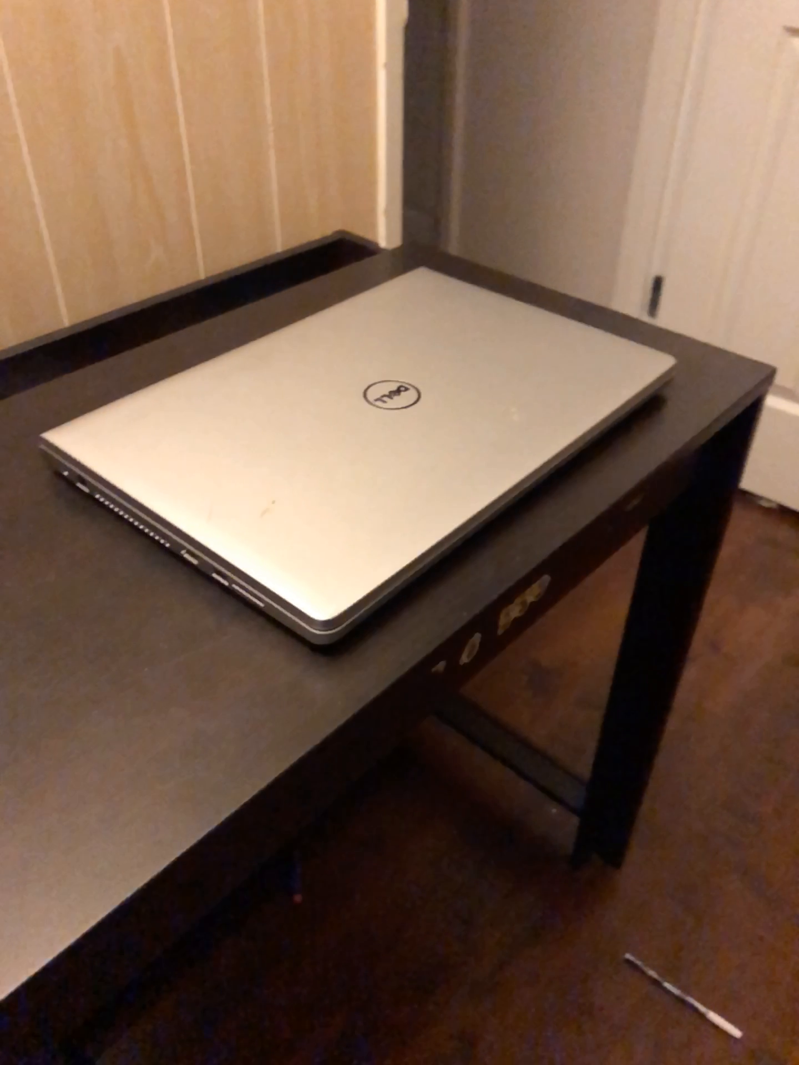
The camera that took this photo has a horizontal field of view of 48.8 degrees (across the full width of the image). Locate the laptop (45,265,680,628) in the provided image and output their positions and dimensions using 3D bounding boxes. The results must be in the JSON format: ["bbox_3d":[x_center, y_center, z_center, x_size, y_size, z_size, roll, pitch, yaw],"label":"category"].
[{"bbox_3d":[-0.008,-0.094,0.606,0.250,0.003,0.371,29,47,30],"label":"laptop"}]
